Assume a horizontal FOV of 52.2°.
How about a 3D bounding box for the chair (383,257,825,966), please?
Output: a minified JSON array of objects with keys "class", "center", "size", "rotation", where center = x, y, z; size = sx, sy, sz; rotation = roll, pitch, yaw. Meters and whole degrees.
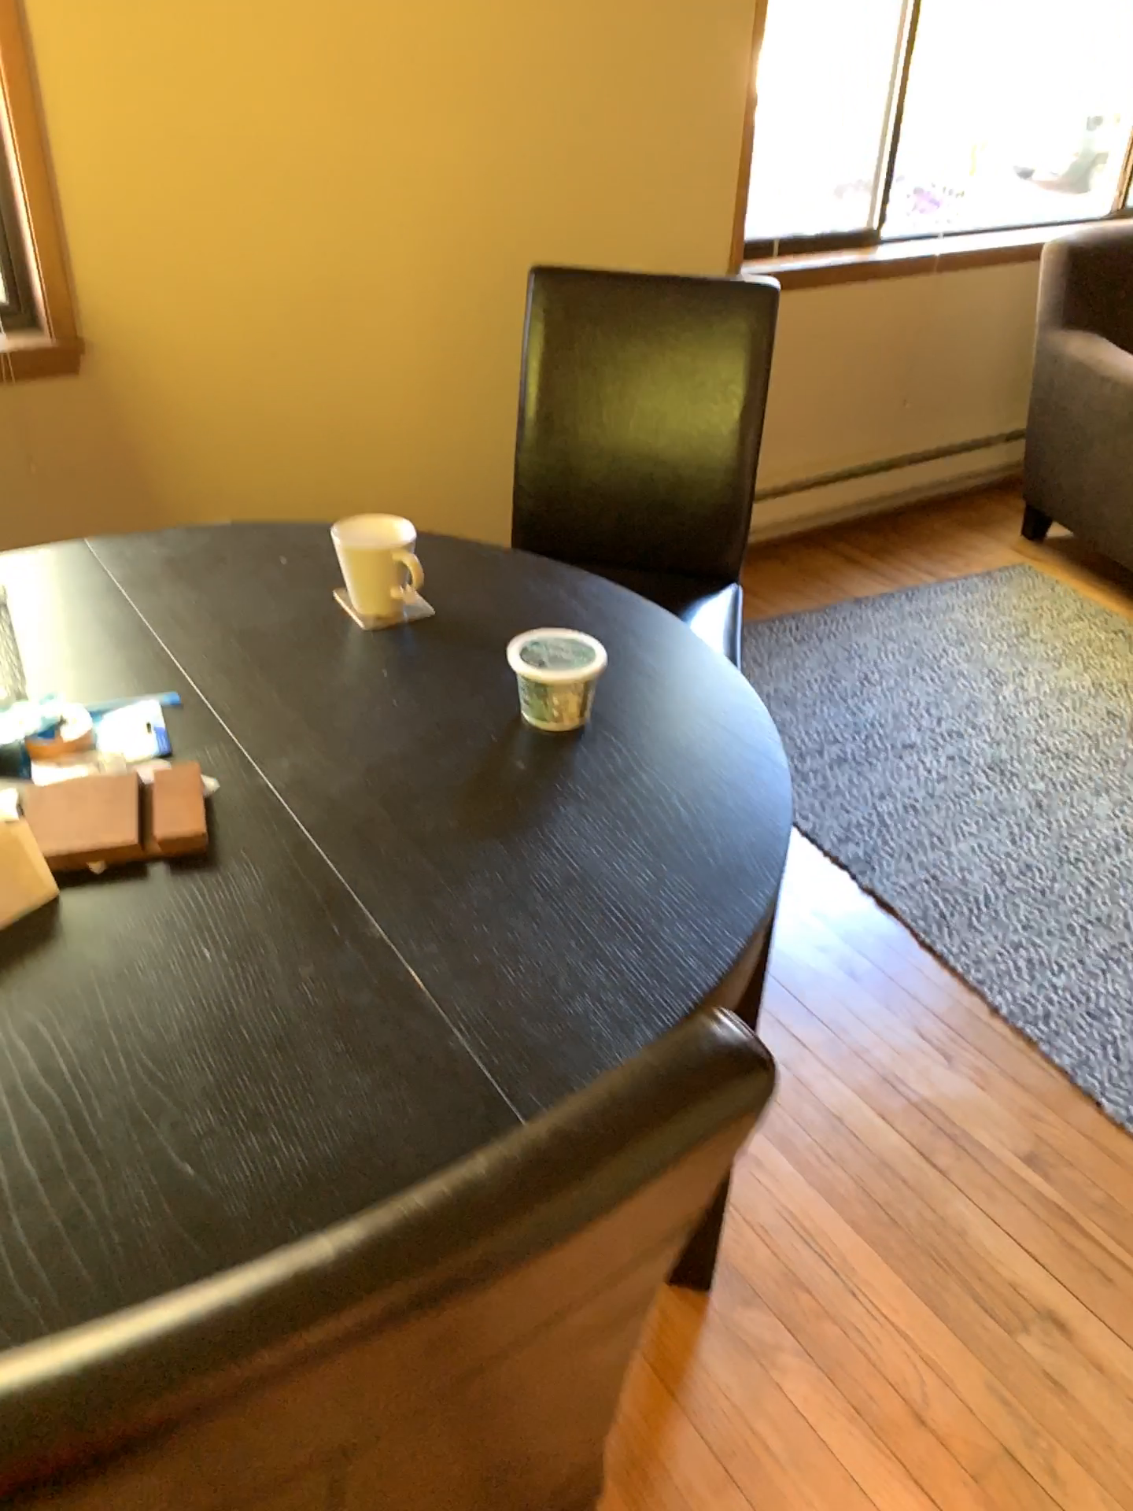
[{"class":"chair","center":[0.077,-0.274,2.173],"size":[0.620,1.083,0.654],"rotation":[7,33,7]}]
